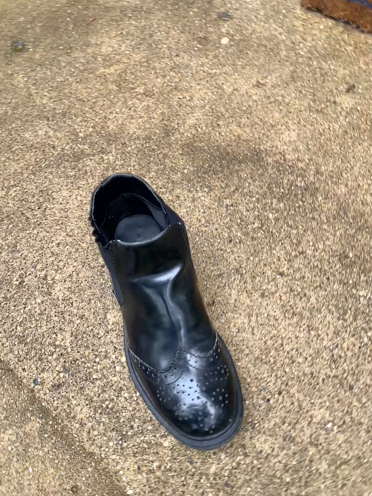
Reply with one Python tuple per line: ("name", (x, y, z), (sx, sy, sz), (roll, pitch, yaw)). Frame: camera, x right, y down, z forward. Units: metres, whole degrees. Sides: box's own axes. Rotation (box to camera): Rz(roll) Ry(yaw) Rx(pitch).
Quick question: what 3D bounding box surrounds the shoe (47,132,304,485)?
("shoe", (-0.022, 0.051, 0.369), (0.118, 0.149, 0.267), (-20, 63, -7))
